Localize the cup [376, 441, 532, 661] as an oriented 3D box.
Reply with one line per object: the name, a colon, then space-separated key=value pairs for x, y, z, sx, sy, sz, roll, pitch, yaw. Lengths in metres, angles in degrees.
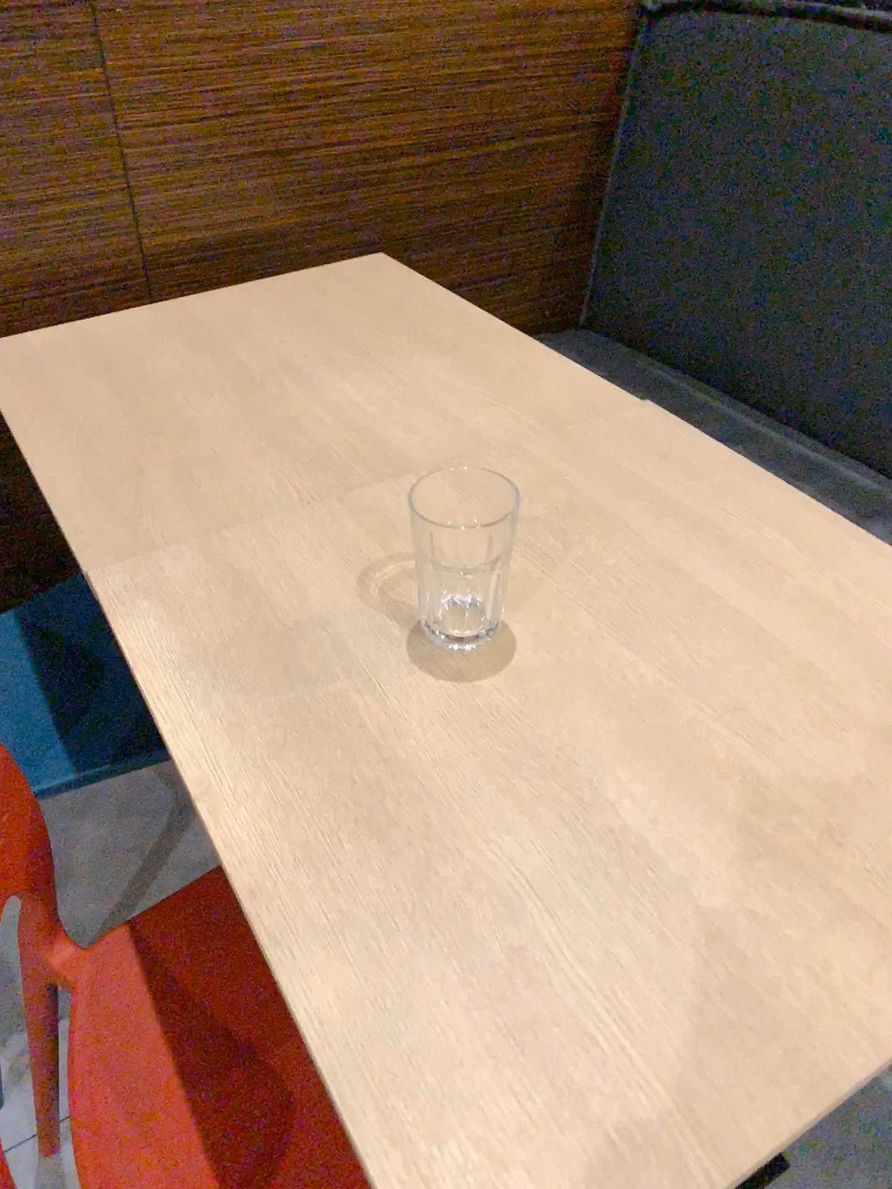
cup: x=0.007 y=-0.032 z=0.660 sx=0.080 sy=0.119 sz=0.080 roll=0 pitch=37 yaw=0
